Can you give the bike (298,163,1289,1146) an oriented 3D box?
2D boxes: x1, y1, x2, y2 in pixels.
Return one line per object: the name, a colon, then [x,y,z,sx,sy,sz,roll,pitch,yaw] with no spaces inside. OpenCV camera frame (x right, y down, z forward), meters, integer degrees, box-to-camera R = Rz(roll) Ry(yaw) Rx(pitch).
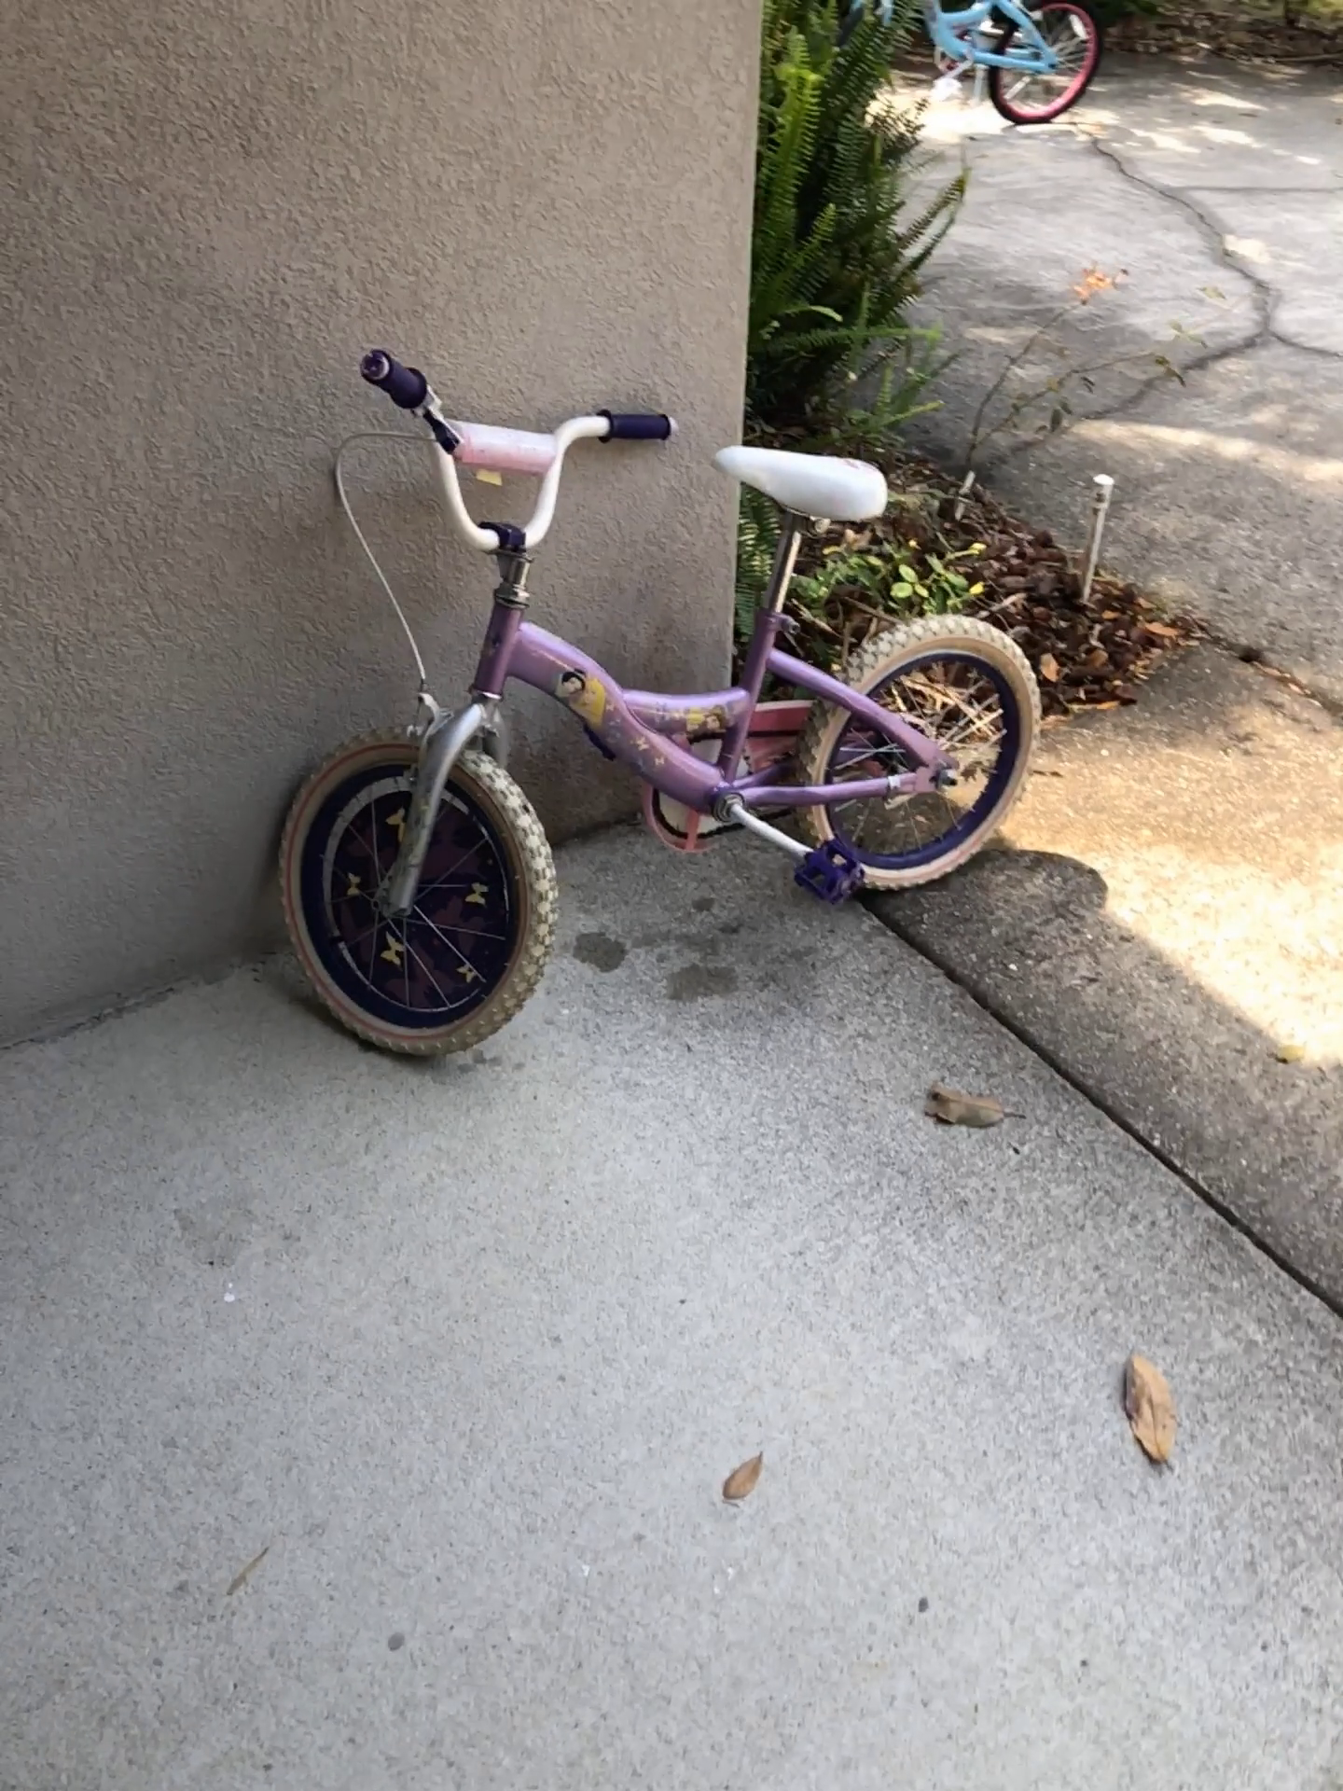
bike: [0.097,-0.326,1.772,0.846,0.816,0.618,-16,42,-19]
